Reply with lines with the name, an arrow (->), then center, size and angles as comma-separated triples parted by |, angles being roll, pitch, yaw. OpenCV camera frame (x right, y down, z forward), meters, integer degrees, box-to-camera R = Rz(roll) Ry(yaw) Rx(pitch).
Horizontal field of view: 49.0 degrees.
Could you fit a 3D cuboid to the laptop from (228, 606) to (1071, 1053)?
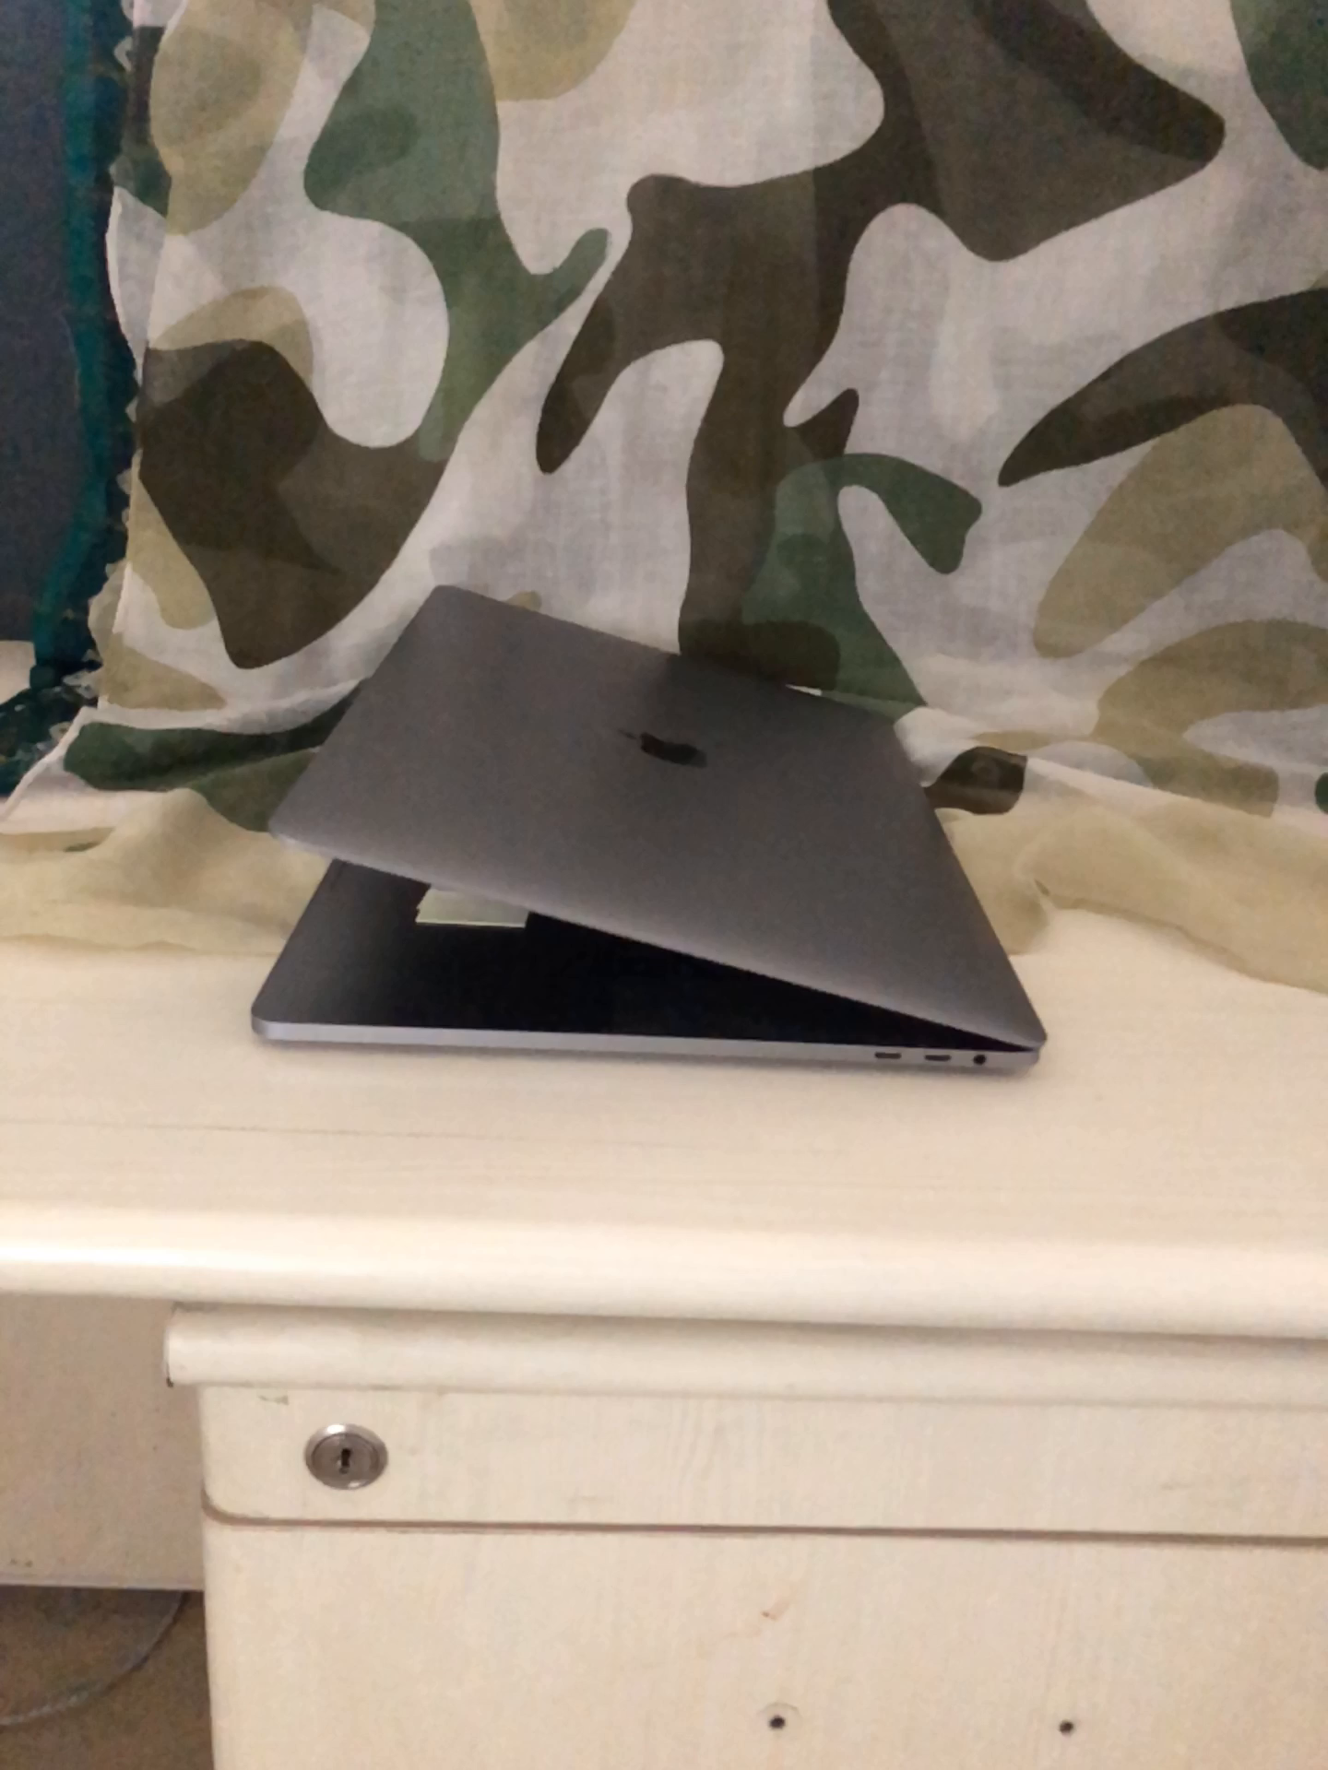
laptop -> -0.002, -0.044, 0.576 | 0.236, 0.058, 0.340 | 3, 21, 0
